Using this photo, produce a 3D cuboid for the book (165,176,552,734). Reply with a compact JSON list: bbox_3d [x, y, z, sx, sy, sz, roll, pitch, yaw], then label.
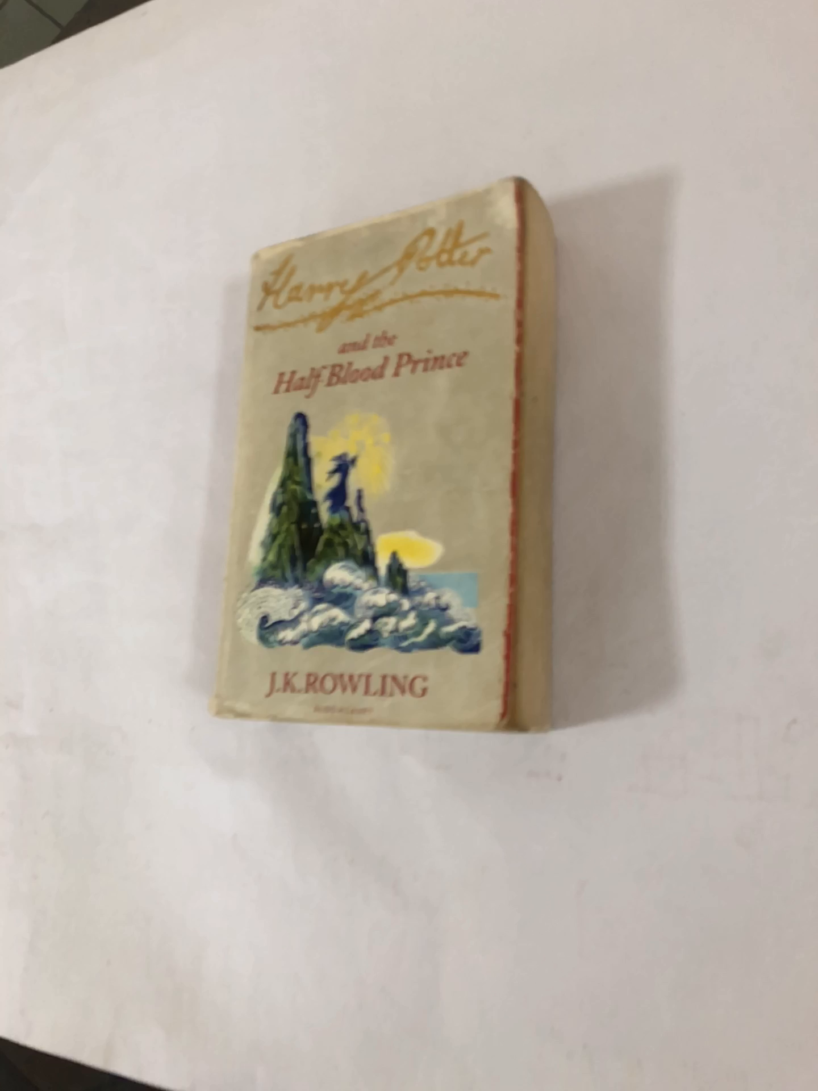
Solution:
[{"bbox_3d":[-0.017,-0.025,0.334,0.130,0.050,0.181,-4,78,28],"label":"book"}]
